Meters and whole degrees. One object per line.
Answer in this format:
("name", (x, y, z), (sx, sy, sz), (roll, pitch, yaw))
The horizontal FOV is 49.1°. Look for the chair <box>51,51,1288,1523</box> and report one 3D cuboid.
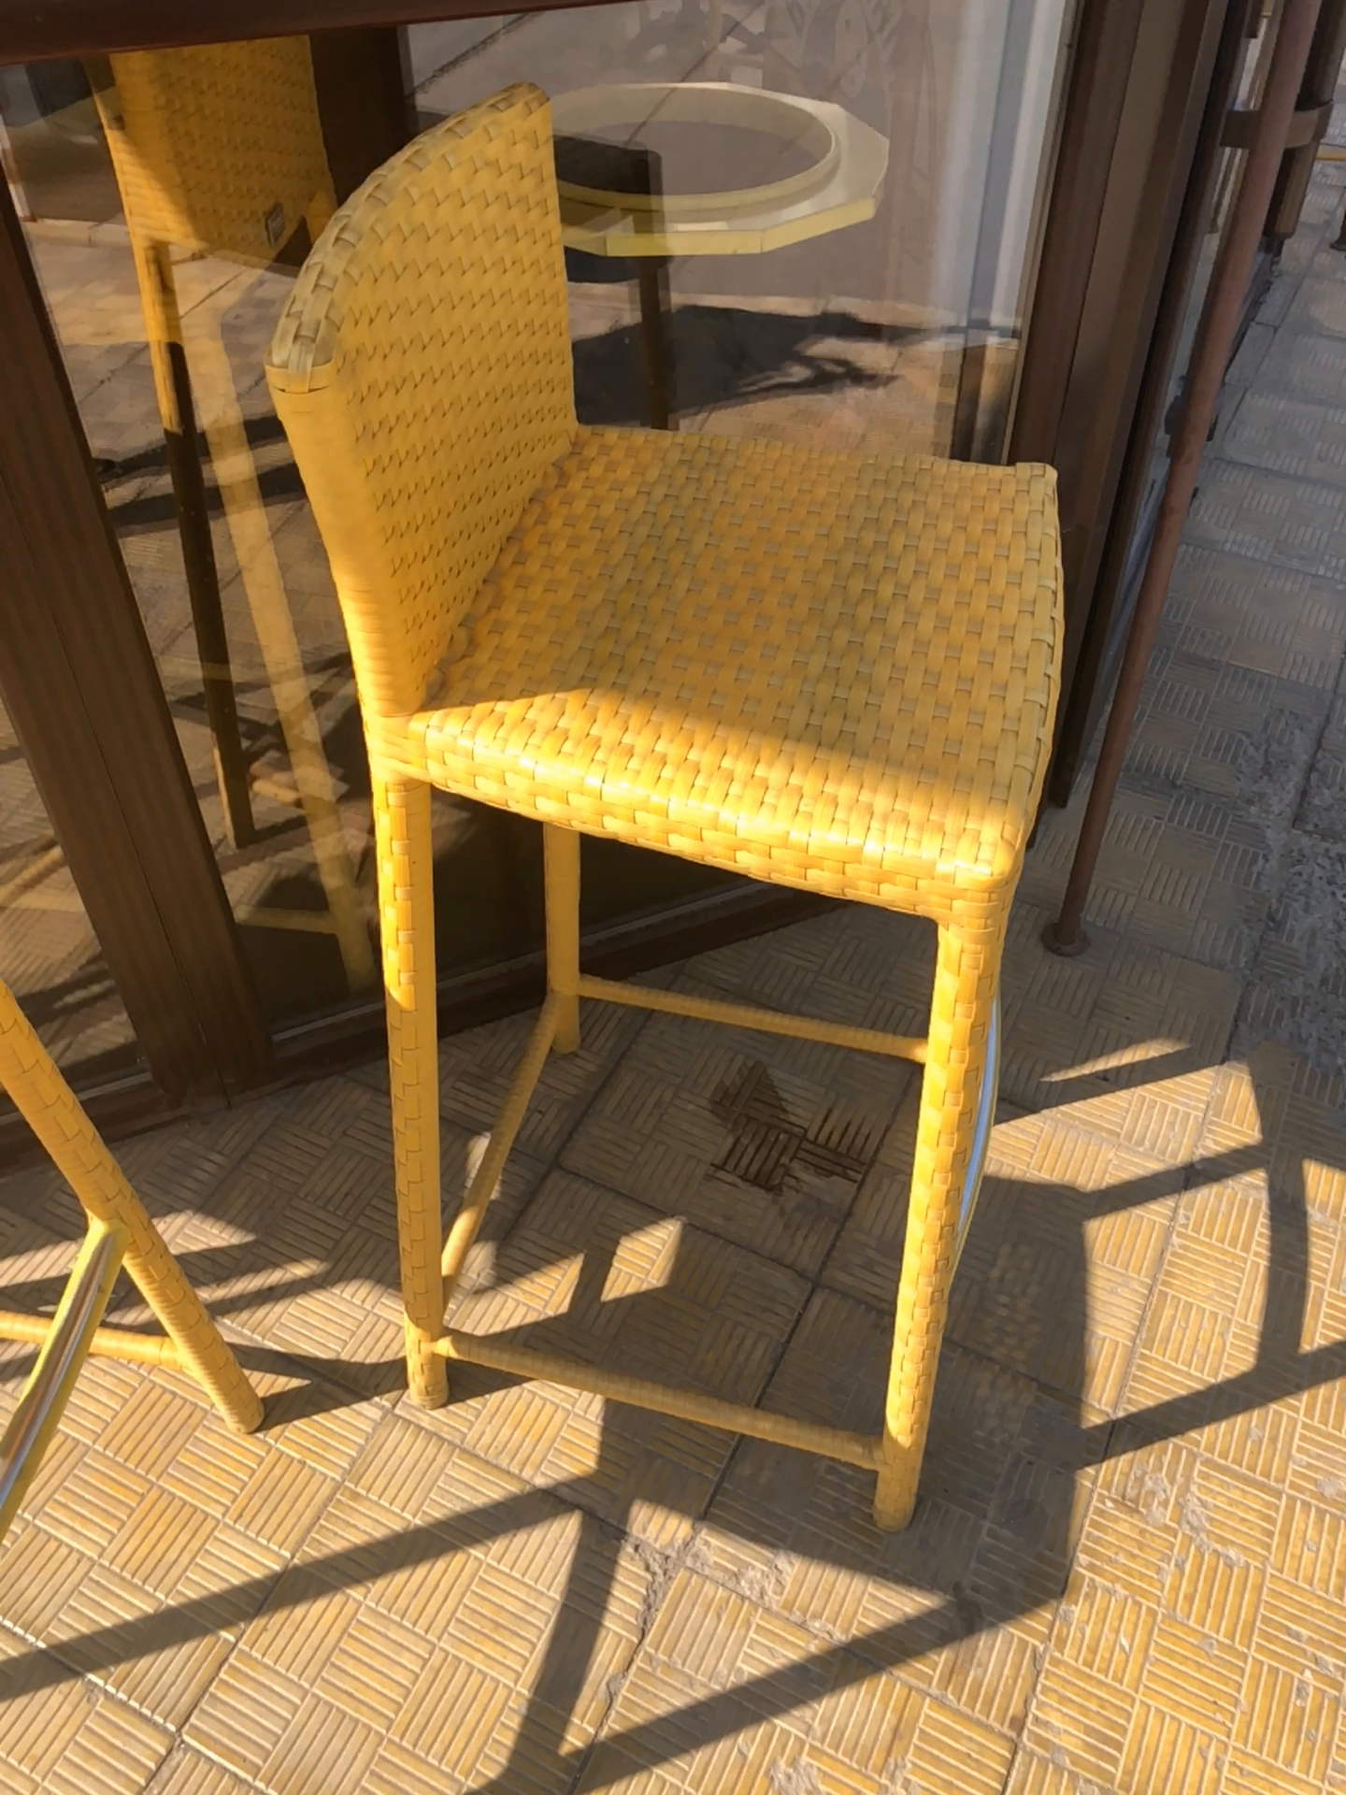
("chair", (0.036, -0.029, 1.089), (0.520, 0.916, 0.482), (10, 45, 10))
